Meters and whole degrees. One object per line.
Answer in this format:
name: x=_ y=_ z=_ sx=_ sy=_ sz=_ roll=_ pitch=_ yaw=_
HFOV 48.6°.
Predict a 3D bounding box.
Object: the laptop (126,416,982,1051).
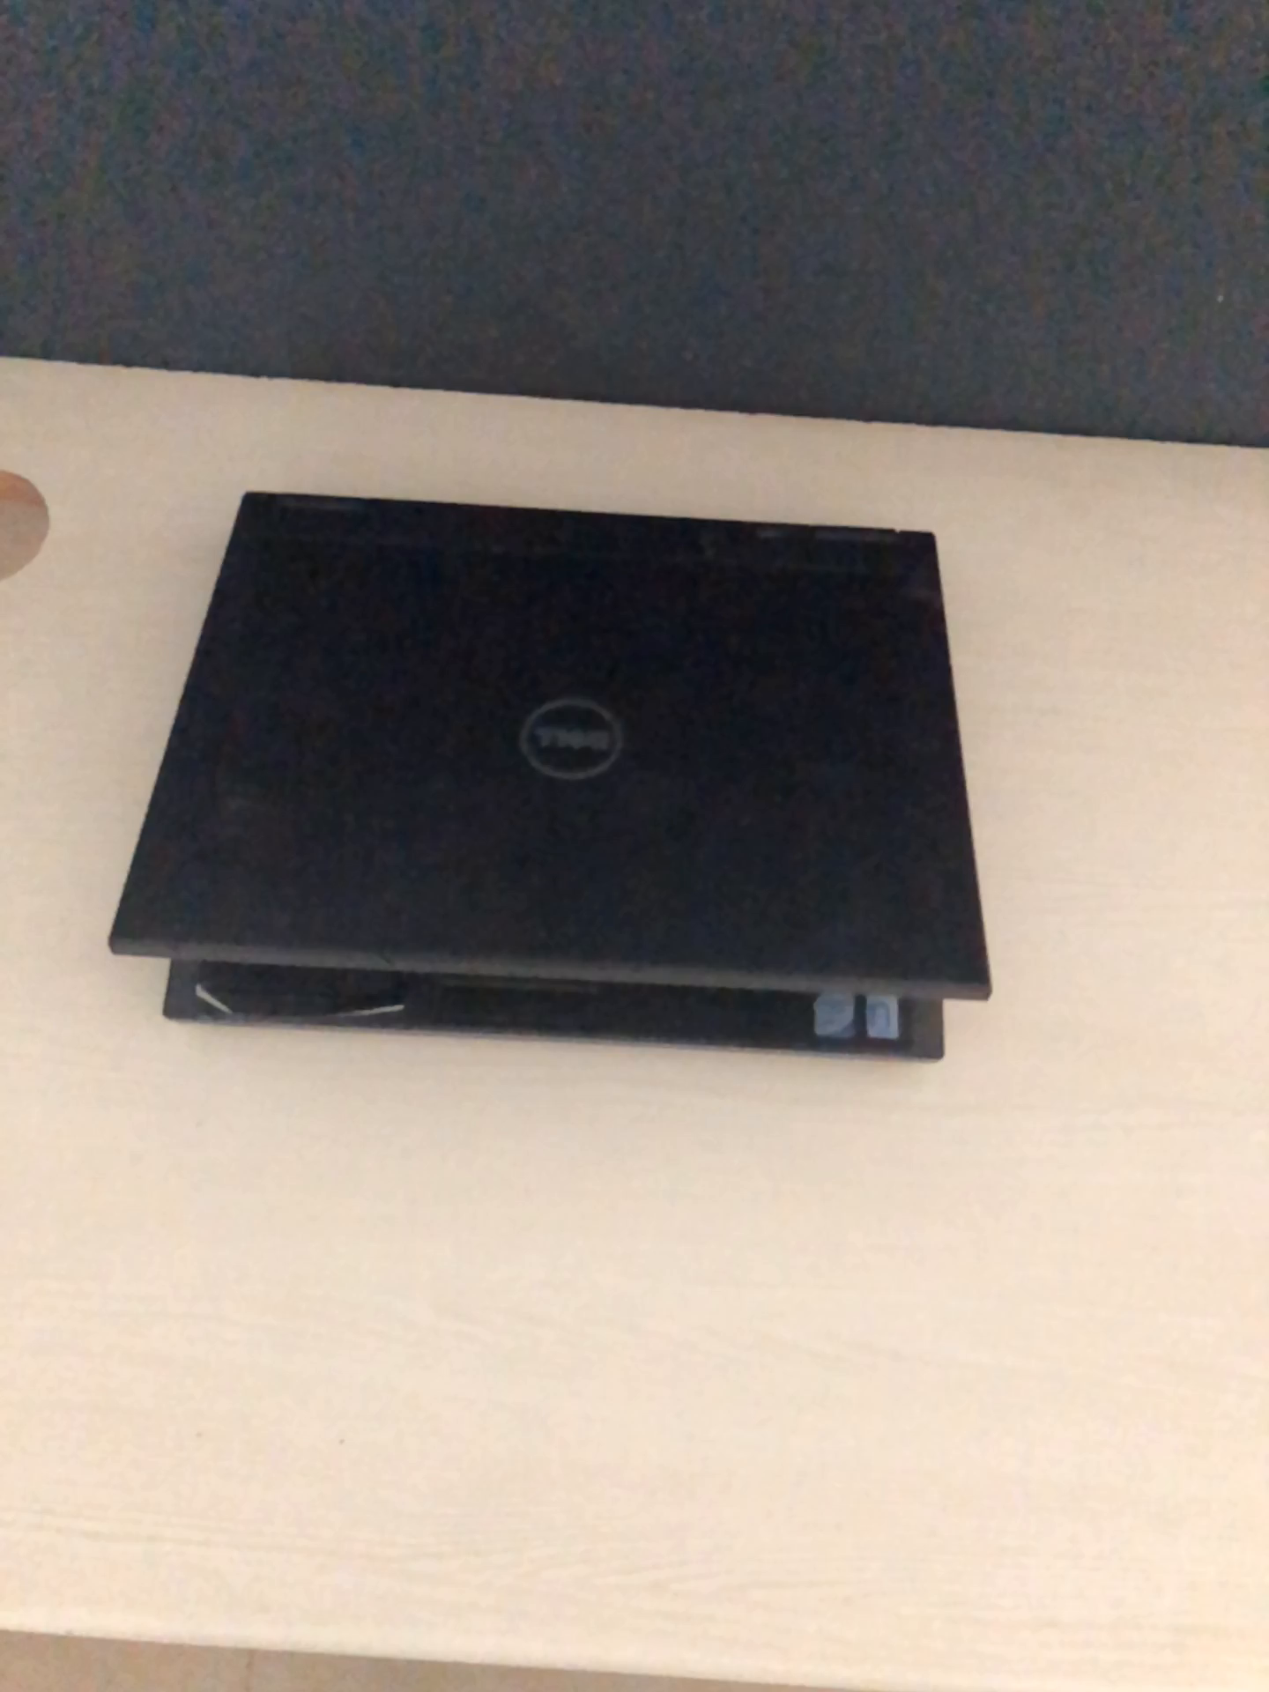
laptop: x=-0.022 y=-0.046 z=0.564 sx=0.302 sy=0.065 sz=0.230 roll=3 pitch=71 yaw=-1
